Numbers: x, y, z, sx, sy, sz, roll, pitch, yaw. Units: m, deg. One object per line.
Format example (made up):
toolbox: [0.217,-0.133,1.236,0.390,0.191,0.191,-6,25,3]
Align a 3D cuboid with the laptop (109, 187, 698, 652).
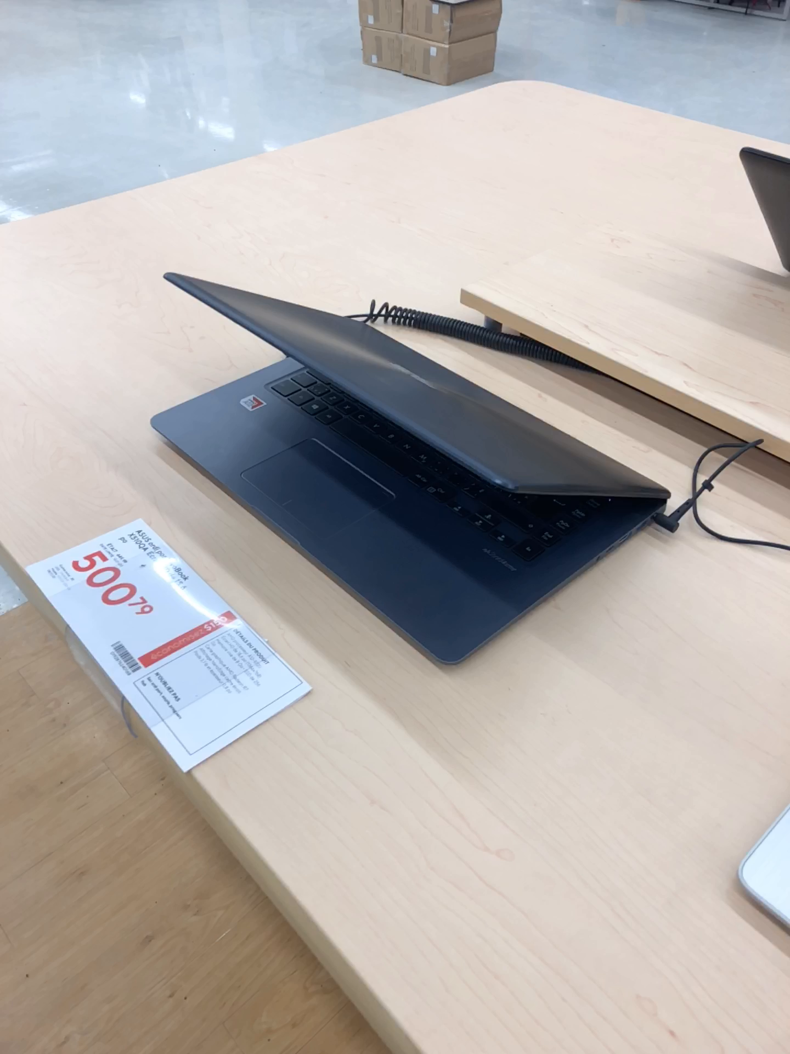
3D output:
laptop: [-0.004,-0.109,0.650,0.232,0.136,0.345,-32,51,-31]
